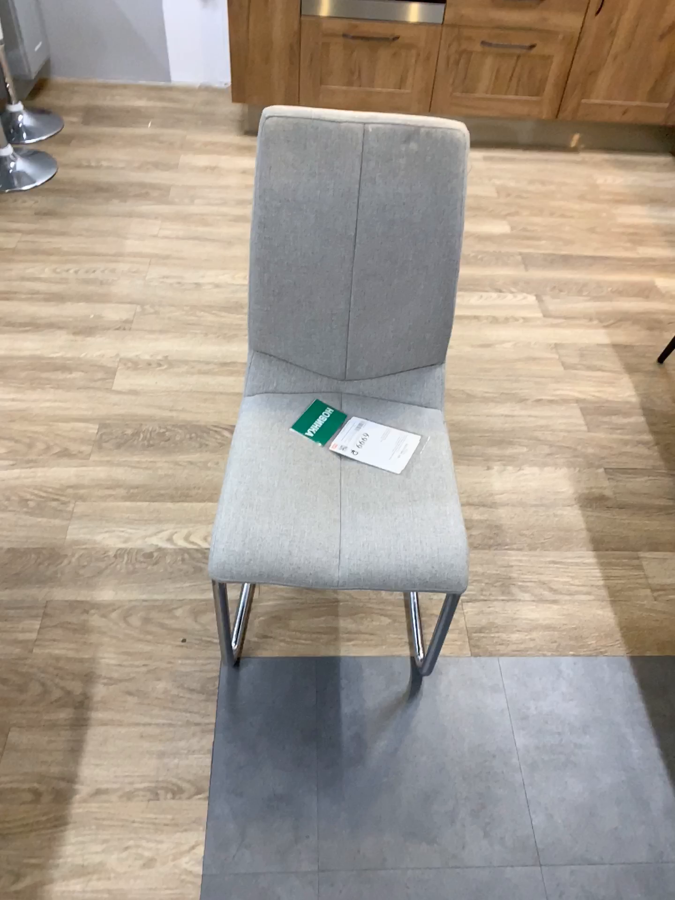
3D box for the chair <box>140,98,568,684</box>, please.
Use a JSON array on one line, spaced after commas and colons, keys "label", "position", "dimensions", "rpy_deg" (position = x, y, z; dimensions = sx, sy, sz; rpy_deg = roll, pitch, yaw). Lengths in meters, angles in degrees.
[{"label": "chair", "position": [-0.006, -0.043, 1.338], "dimensions": [0.490, 0.985, 0.573], "rpy_deg": [3, 47, -2]}]
